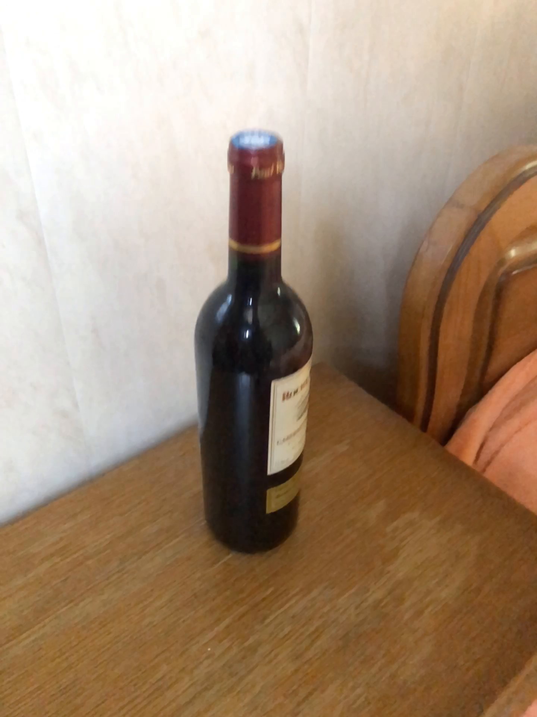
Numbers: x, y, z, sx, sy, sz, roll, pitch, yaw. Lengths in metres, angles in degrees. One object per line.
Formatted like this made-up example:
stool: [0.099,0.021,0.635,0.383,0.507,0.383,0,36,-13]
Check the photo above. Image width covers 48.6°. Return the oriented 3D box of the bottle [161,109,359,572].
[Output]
bottle: [-0.005,0.006,0.394,0.080,0.298,0.081,1,36,-1]
